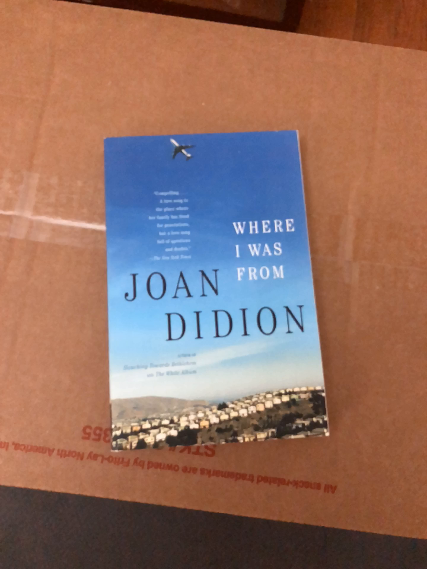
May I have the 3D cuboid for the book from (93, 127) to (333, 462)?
[{"bbox_3d":[-0.005,0.000,0.316,0.140,0.020,0.210,-3,78,-3],"label":"book"}]
